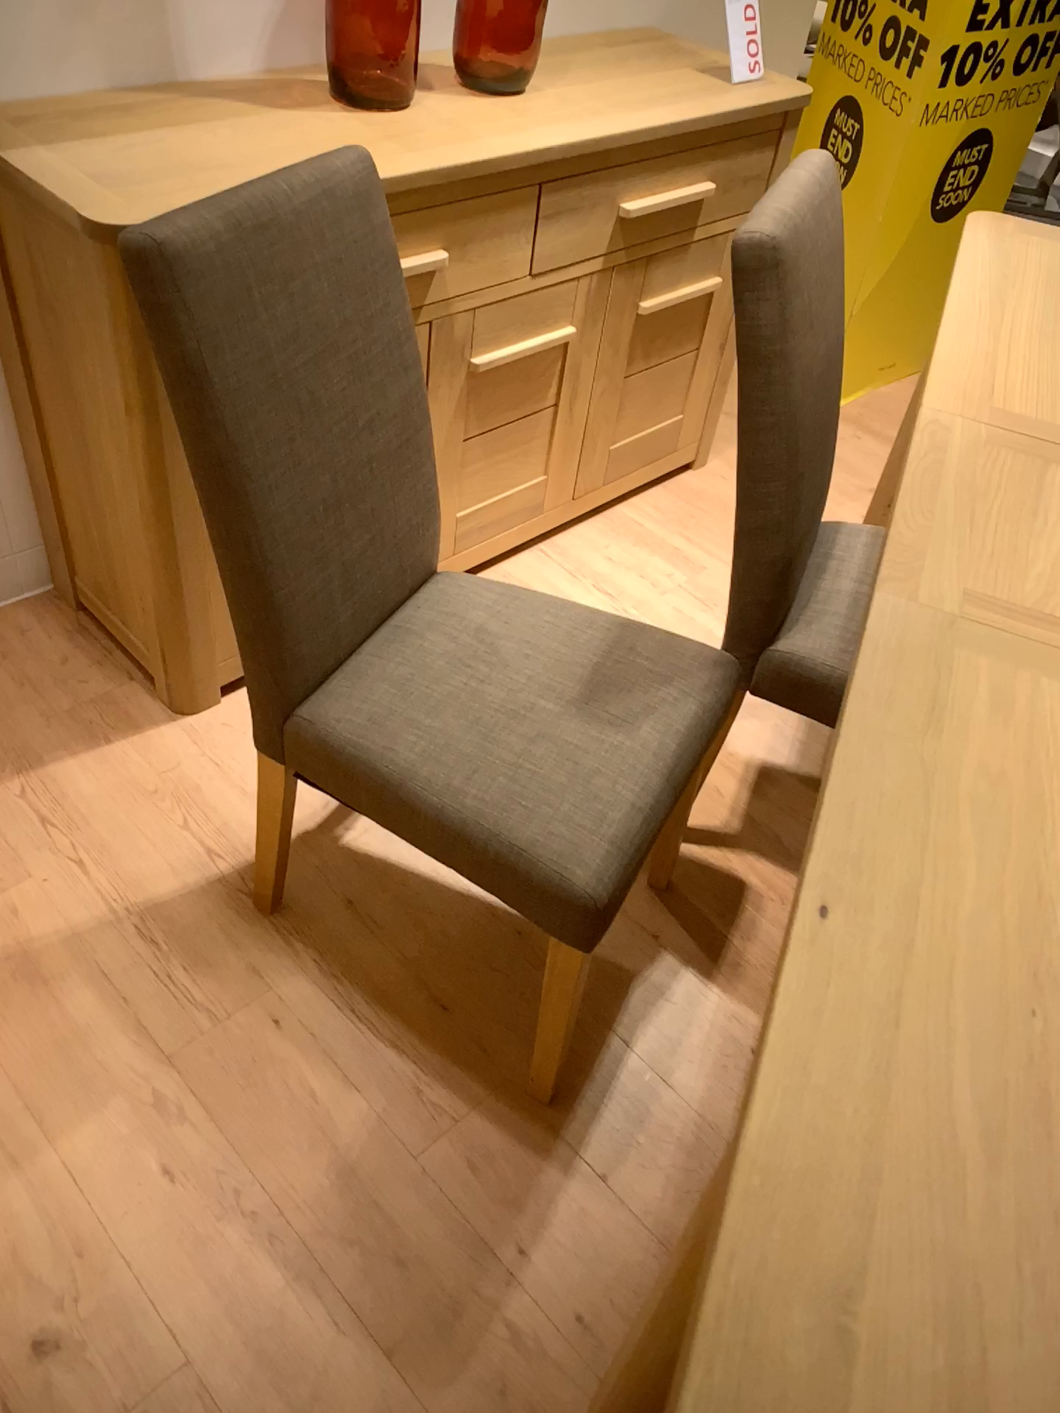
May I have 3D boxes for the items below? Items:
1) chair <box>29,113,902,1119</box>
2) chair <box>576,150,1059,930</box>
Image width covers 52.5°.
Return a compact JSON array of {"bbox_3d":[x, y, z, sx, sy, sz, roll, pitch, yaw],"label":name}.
[{"bbox_3d":[-0.072,-0.084,1.256,0.604,0.884,0.511,24,45,15],"label":"chair"},{"bbox_3d":[0.438,-0.210,1.430,0.504,0.765,0.501,21,44,12],"label":"chair"}]
